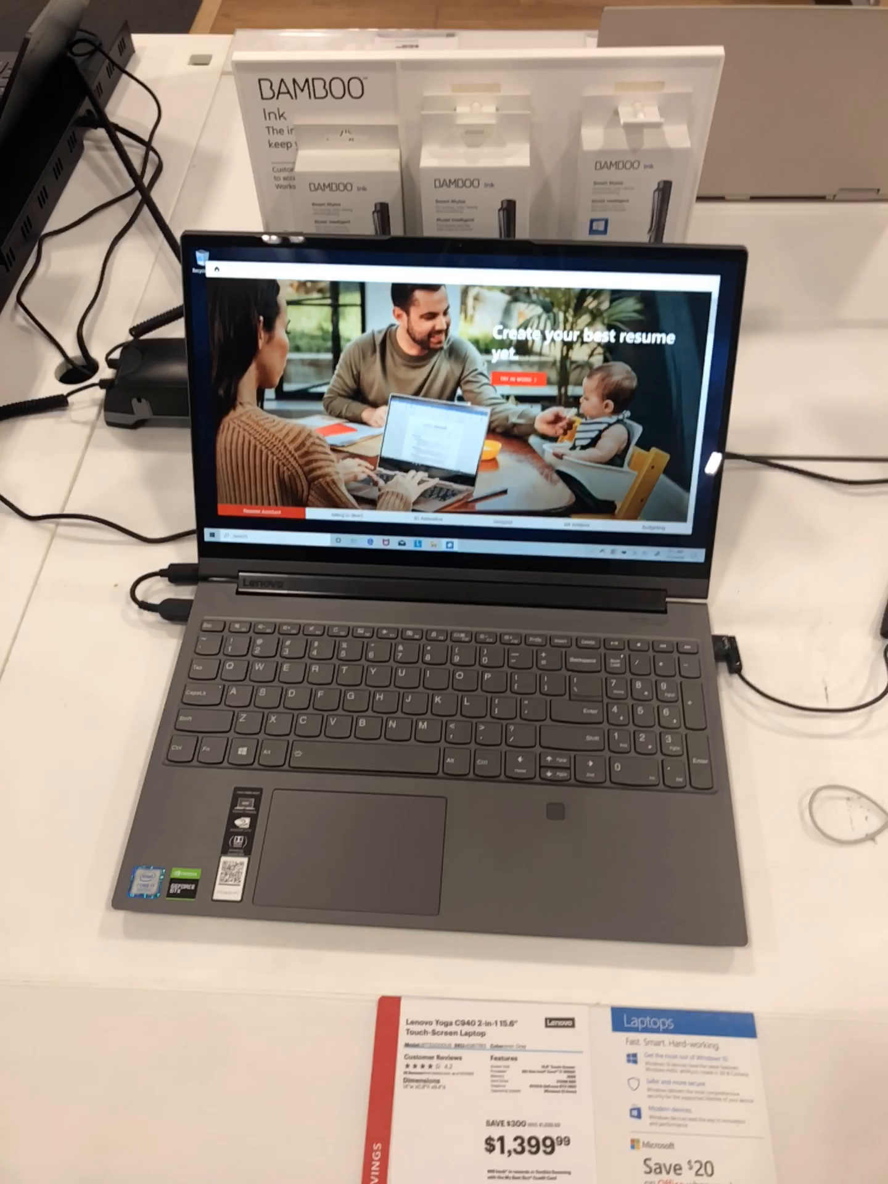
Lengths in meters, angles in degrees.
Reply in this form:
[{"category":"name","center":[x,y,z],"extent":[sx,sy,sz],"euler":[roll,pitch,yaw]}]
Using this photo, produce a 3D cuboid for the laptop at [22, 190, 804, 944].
[{"category":"laptop","center":[-0.006,-0.026,0.578],"extent":[0.336,0.169,0.375],"euler":[2,60,2]}]
